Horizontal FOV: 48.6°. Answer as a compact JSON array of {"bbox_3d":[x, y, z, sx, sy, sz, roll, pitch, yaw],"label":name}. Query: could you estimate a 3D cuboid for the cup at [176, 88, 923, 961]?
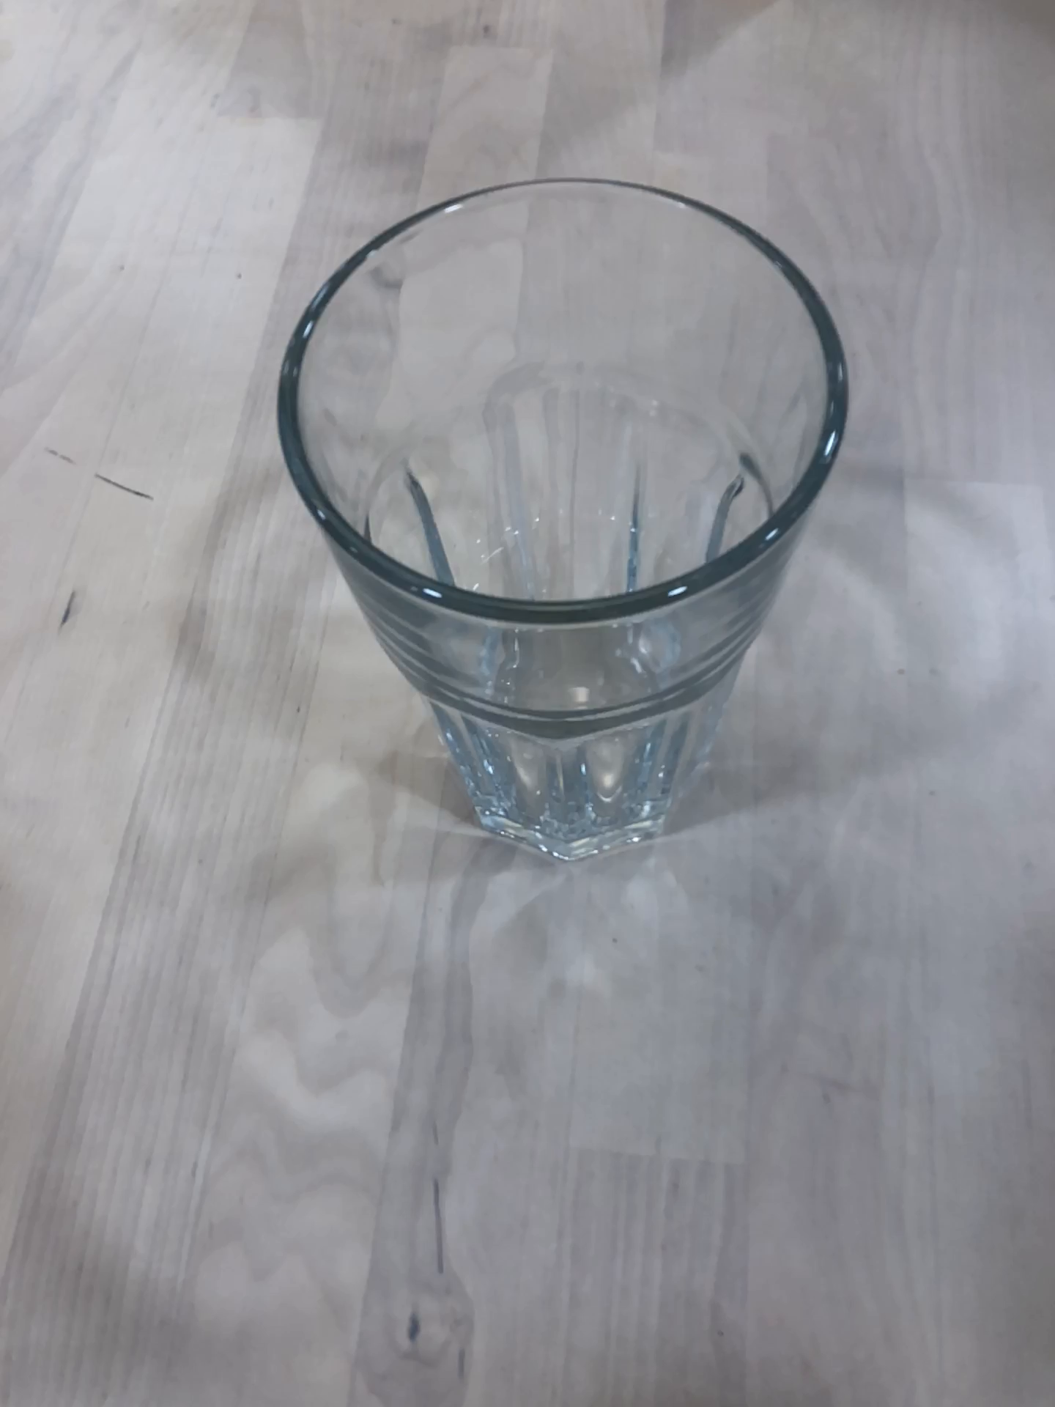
[{"bbox_3d":[0.011,-0.022,0.250,0.090,0.159,0.090,-1,63,3],"label":"cup"}]
